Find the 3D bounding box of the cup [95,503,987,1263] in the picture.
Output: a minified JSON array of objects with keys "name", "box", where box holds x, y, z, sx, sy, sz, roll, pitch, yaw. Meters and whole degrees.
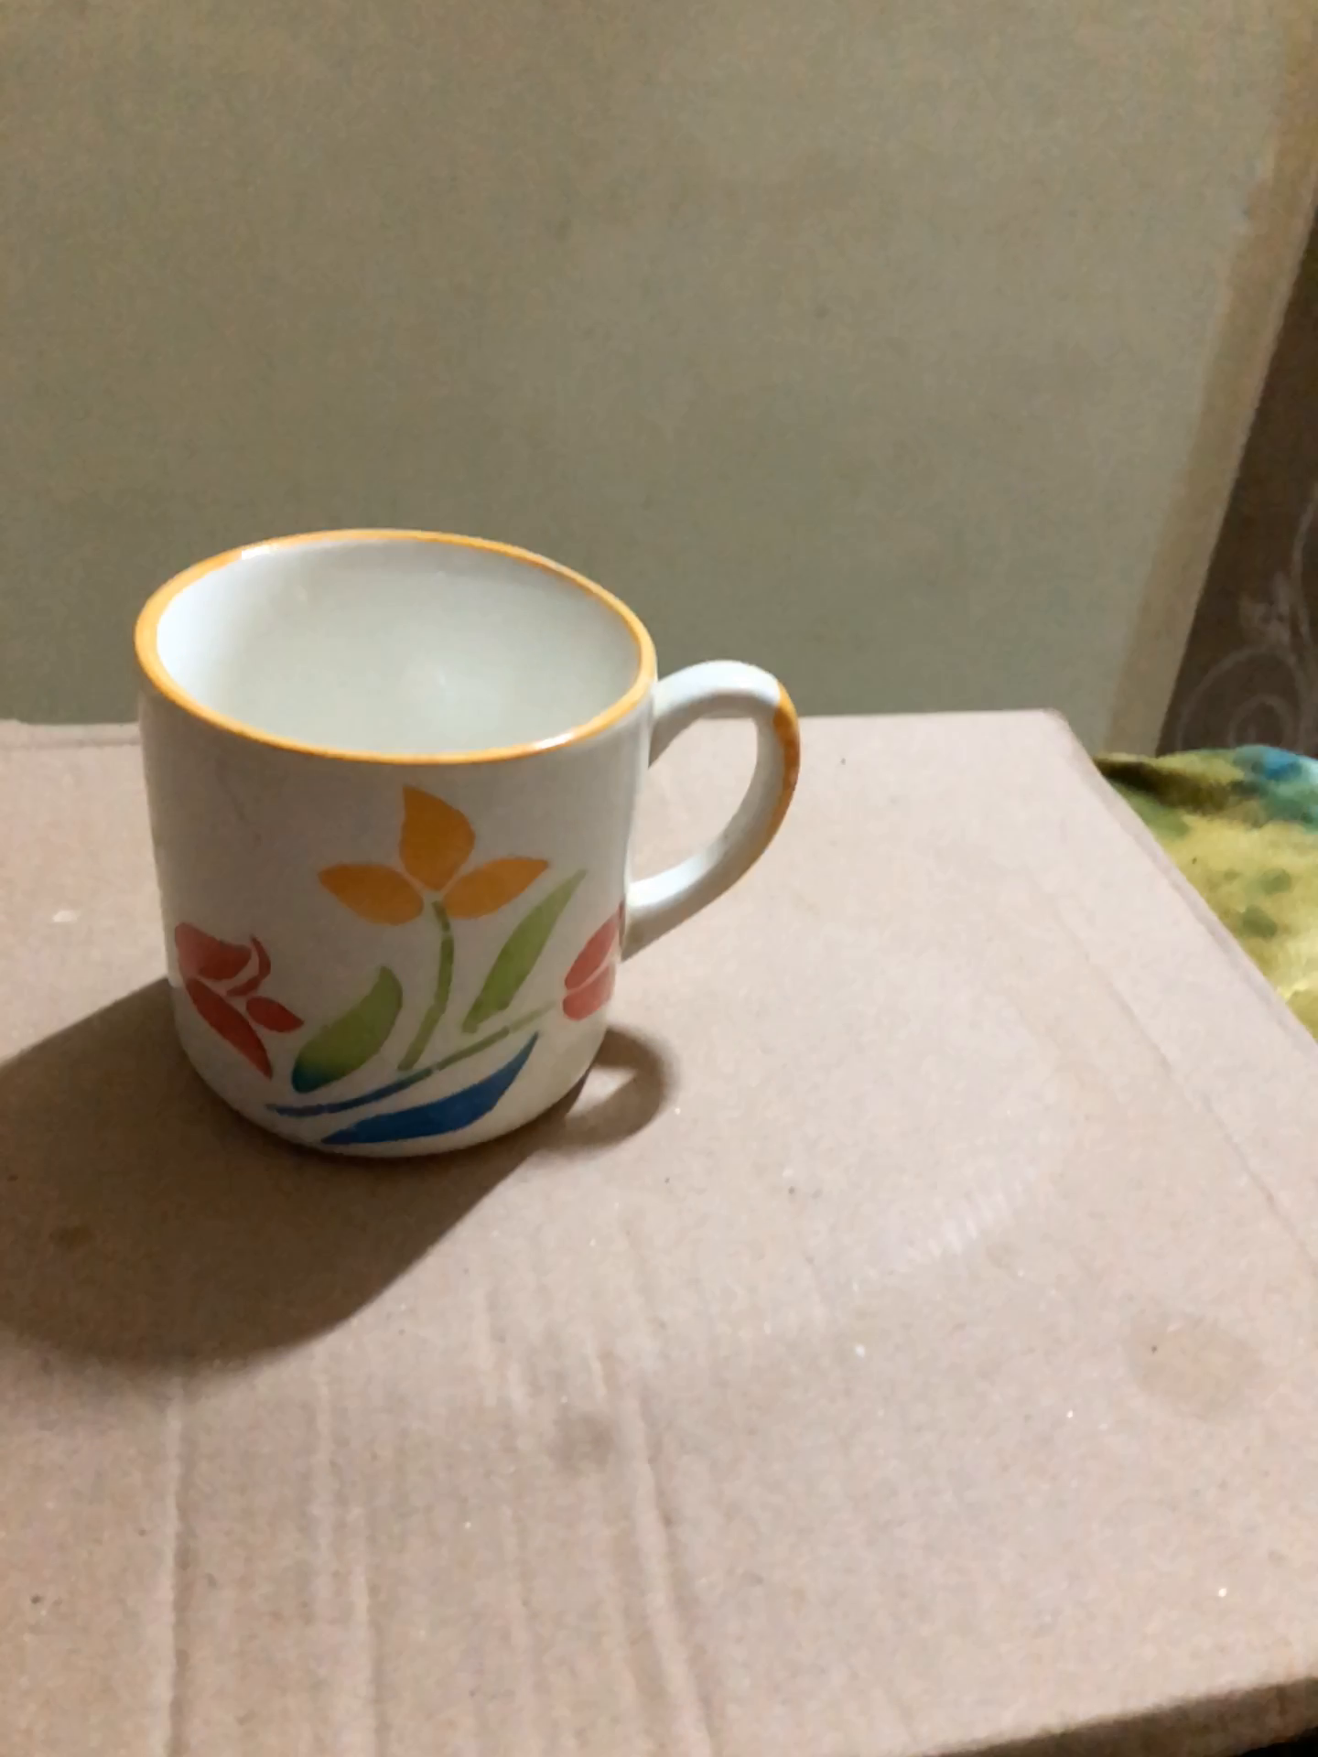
[{"name":"cup","box":[-0.026,-0.008,0.252,0.120,0.079,0.090,-8,35,-19]}]
